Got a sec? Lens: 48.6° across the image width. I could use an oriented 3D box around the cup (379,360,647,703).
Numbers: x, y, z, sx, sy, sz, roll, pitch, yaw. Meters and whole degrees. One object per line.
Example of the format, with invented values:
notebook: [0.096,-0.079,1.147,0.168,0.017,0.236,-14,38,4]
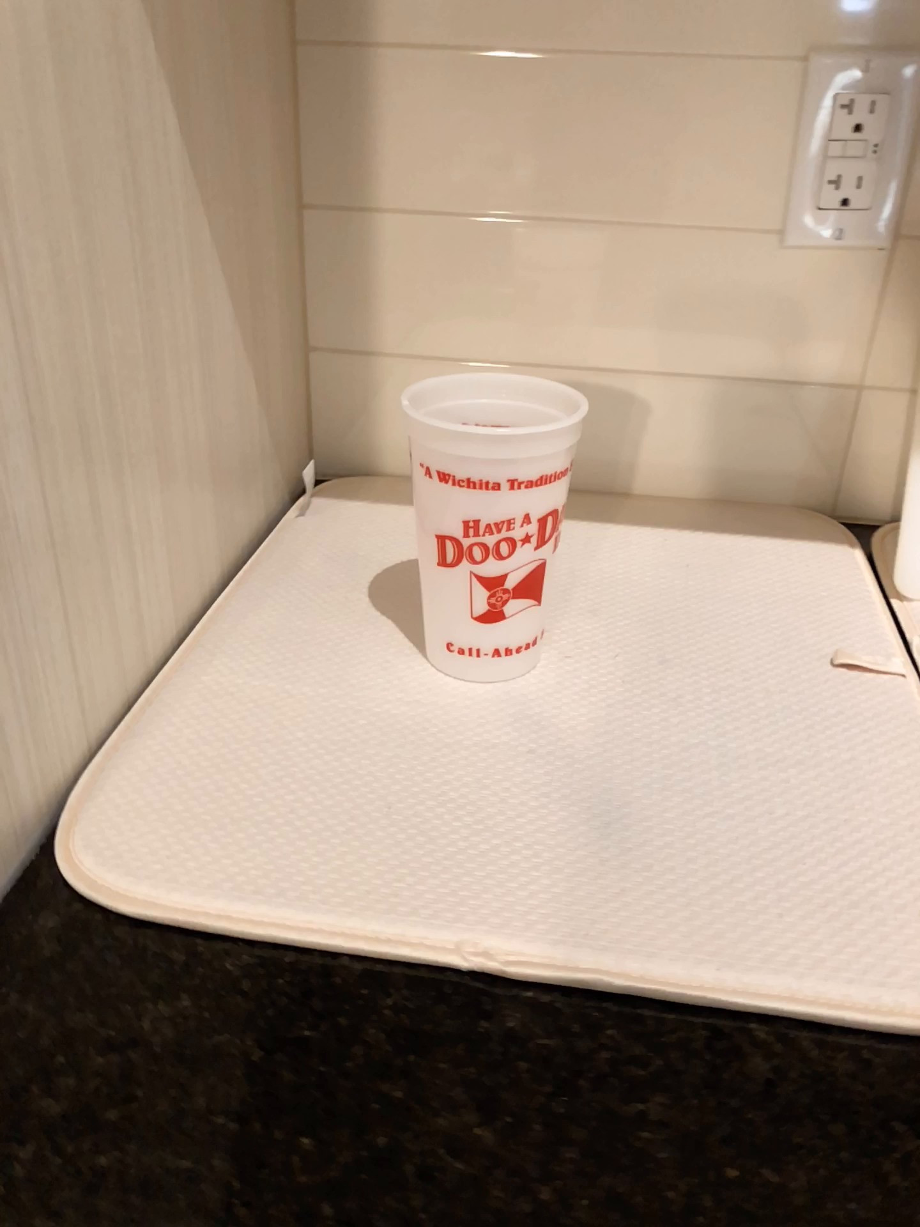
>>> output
cup: [0.021,-0.047,0.535,0.100,0.139,0.100,2,29,-1]
